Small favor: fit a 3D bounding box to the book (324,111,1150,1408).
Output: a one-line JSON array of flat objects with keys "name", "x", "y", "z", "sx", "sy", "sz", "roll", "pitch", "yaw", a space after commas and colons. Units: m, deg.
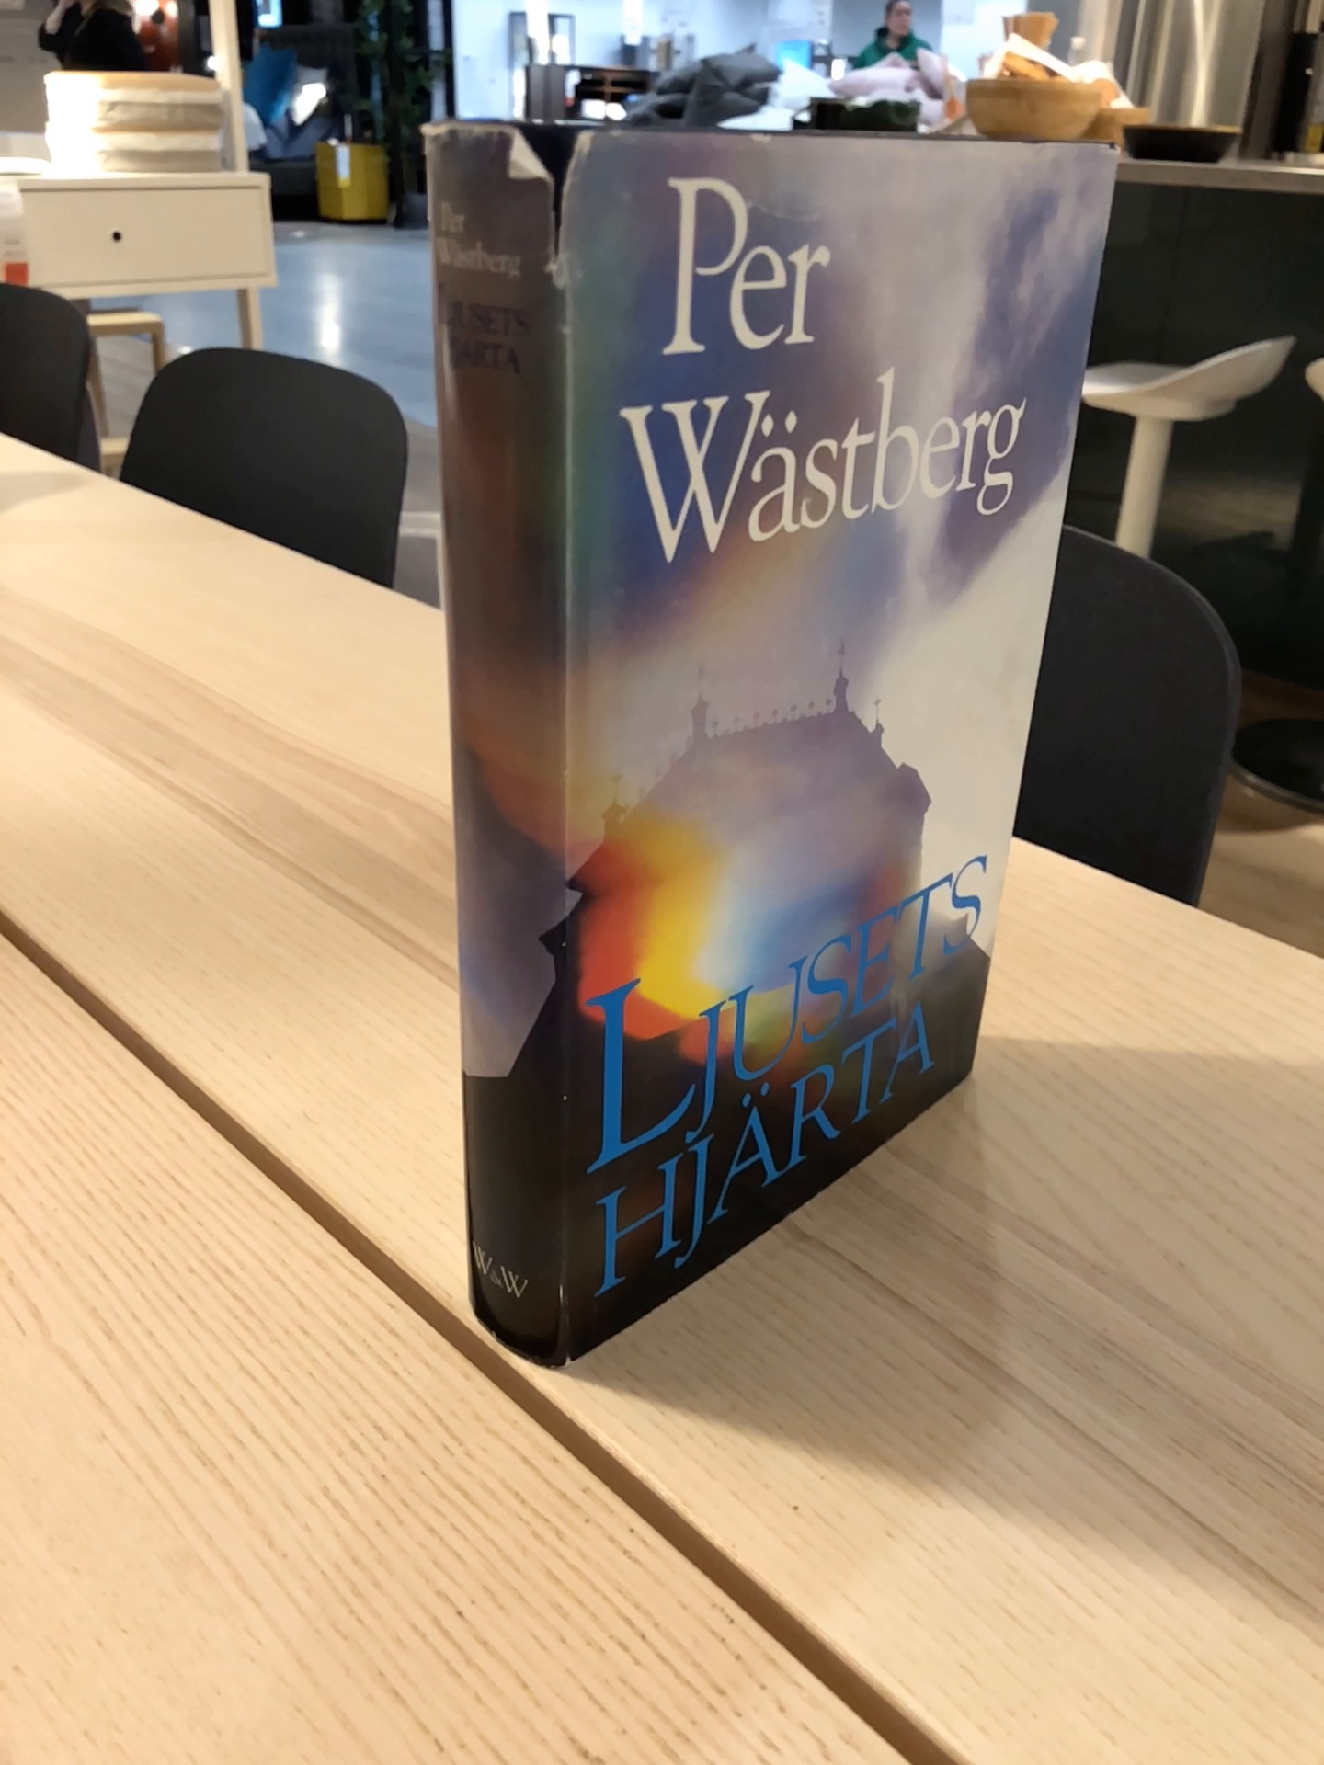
[{"name": "book", "x": 0.022, "y": -0.030, "z": 0.301, "sx": 0.042, "sy": 0.221, "sz": 0.166, "roll": 24, "pitch": 35, "yaw": 38}]
